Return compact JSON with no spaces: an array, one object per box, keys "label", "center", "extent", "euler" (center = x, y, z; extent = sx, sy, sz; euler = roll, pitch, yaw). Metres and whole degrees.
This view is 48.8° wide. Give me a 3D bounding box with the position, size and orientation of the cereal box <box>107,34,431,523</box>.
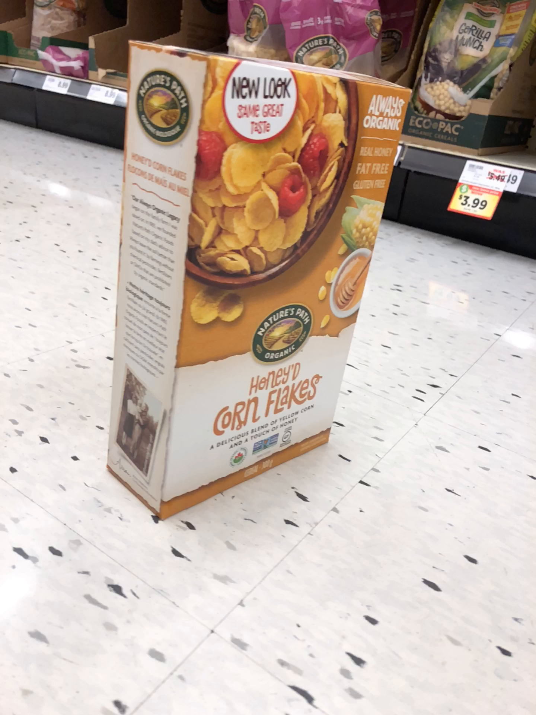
[{"label":"cereal box","center":[-0.004,-0.043,0.351],"extent":[0.161,0.239,0.060],"euler":[-15,35,-42]}]
